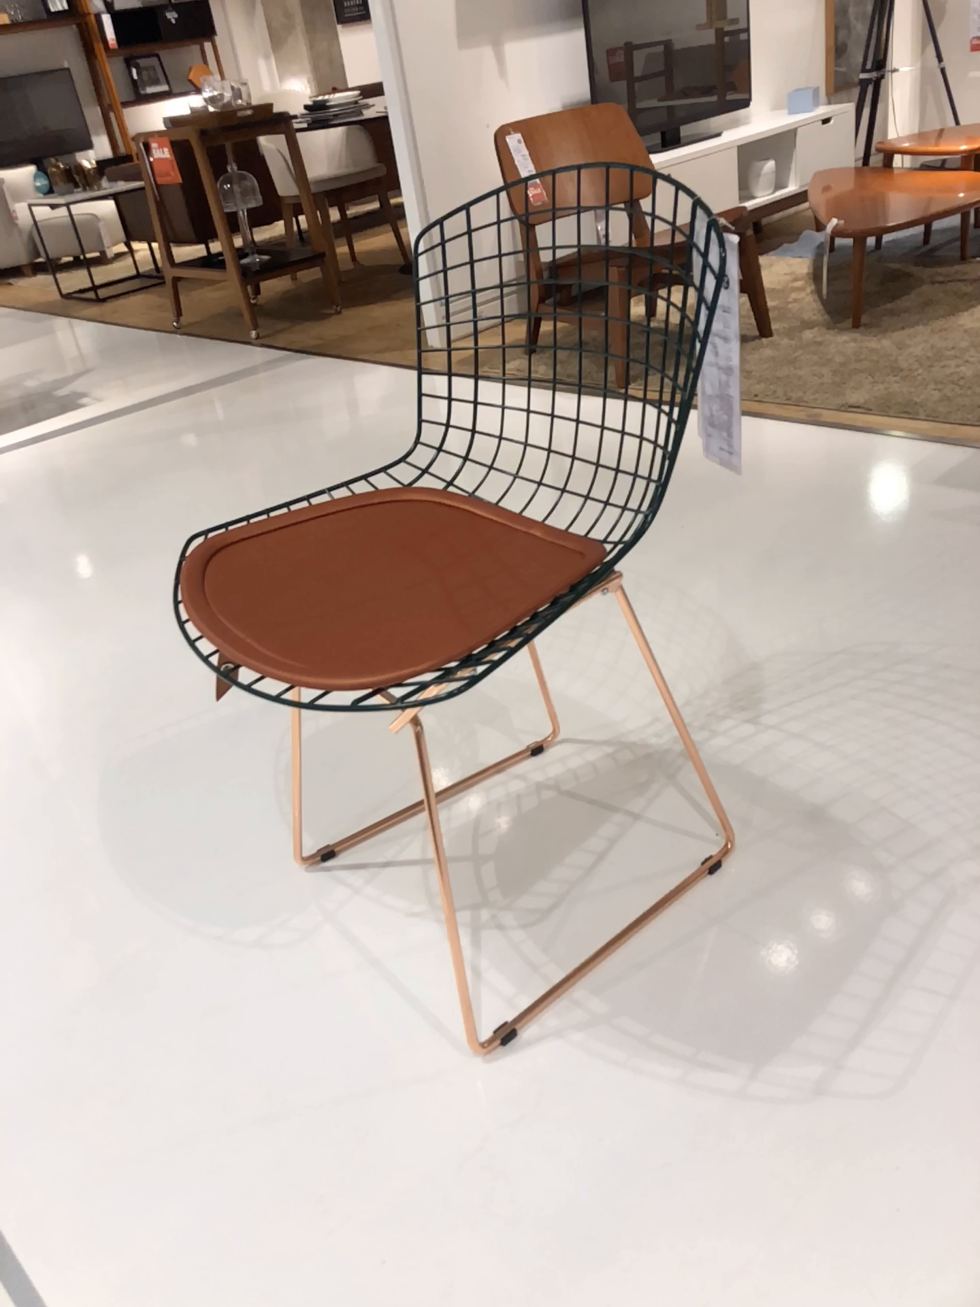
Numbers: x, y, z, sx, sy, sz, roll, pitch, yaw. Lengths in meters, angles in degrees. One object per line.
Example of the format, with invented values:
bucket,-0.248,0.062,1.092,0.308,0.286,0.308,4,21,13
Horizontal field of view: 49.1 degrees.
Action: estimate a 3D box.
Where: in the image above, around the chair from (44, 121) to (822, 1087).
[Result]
chair,-0.025,-0.095,1.109,0.501,0.724,0.493,-25,32,-26
